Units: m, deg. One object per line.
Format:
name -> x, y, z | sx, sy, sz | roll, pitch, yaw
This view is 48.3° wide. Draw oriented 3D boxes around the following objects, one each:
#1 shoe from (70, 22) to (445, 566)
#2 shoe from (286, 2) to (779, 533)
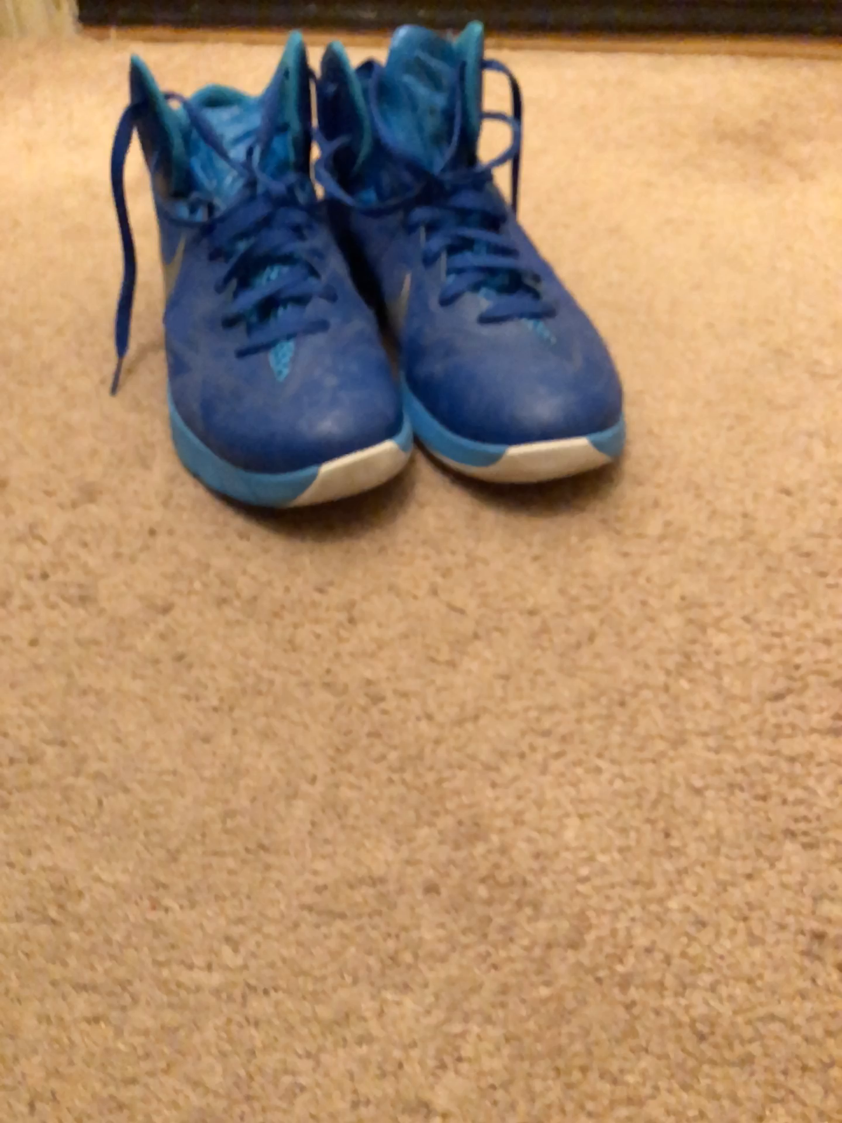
shoe -> -0.089, -0.151, 0.466 | 0.120, 0.134, 0.280 | -13, 44, -11
shoe -> 0.031, -0.167, 0.474 | 0.122, 0.134, 0.281 | -15, 45, -12
